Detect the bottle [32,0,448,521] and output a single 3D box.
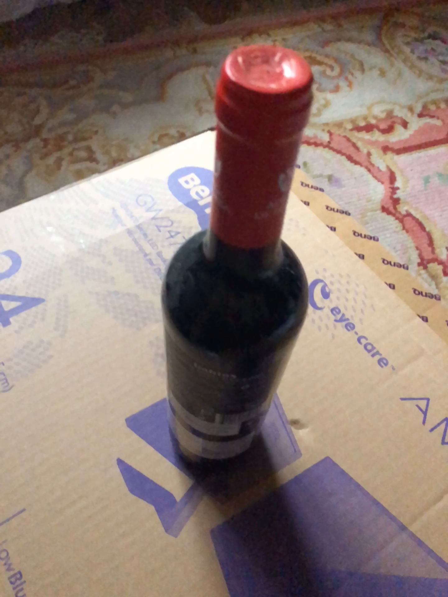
[{"bbox_3d":[-0.002,0.025,0.270,0.090,0.299,0.090,1,56,-2],"label":"bottle"}]
